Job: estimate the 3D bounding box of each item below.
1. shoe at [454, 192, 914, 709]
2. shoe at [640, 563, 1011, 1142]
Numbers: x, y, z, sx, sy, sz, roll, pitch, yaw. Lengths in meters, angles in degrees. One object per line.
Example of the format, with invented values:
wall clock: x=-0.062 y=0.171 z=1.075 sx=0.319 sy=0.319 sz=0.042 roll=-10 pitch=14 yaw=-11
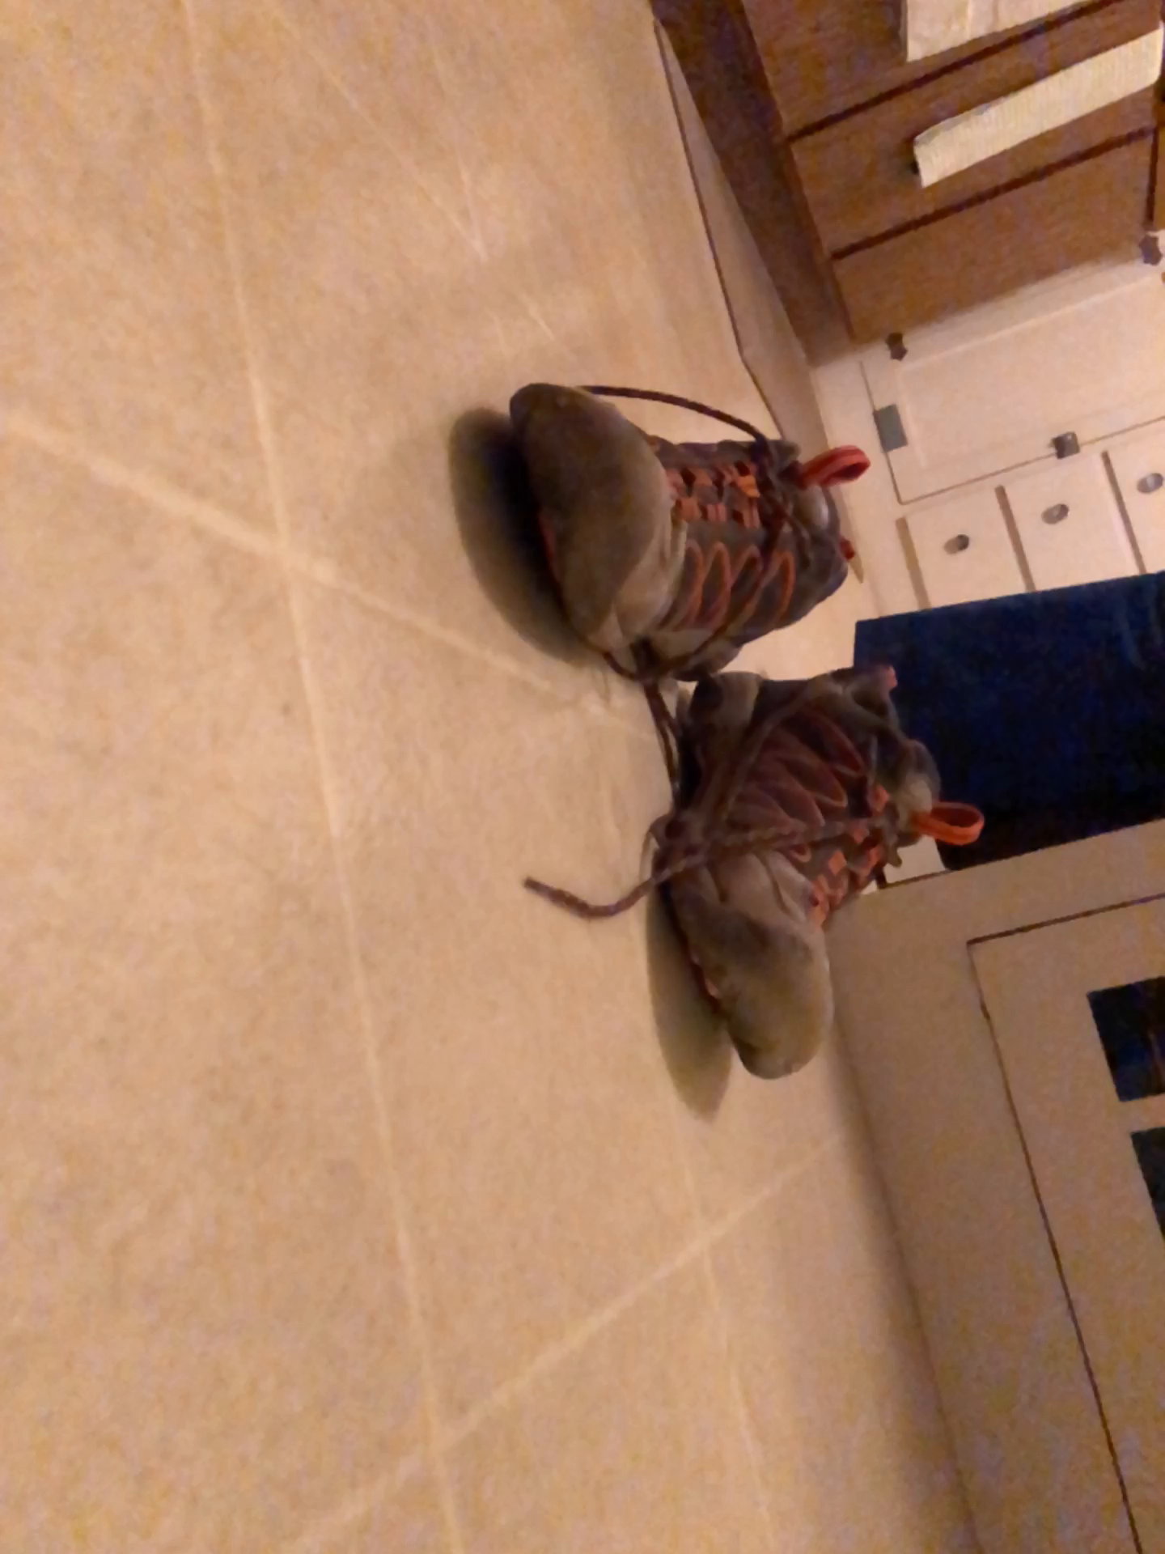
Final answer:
shoe: x=0.069 y=-0.129 z=0.619 sx=0.293 sy=0.121 sz=0.127 roll=12 pitch=63 yaw=-70
shoe: x=0.121 y=0.023 z=0.656 sx=0.283 sy=0.121 sz=0.127 roll=-78 pitch=147 yaw=-56
